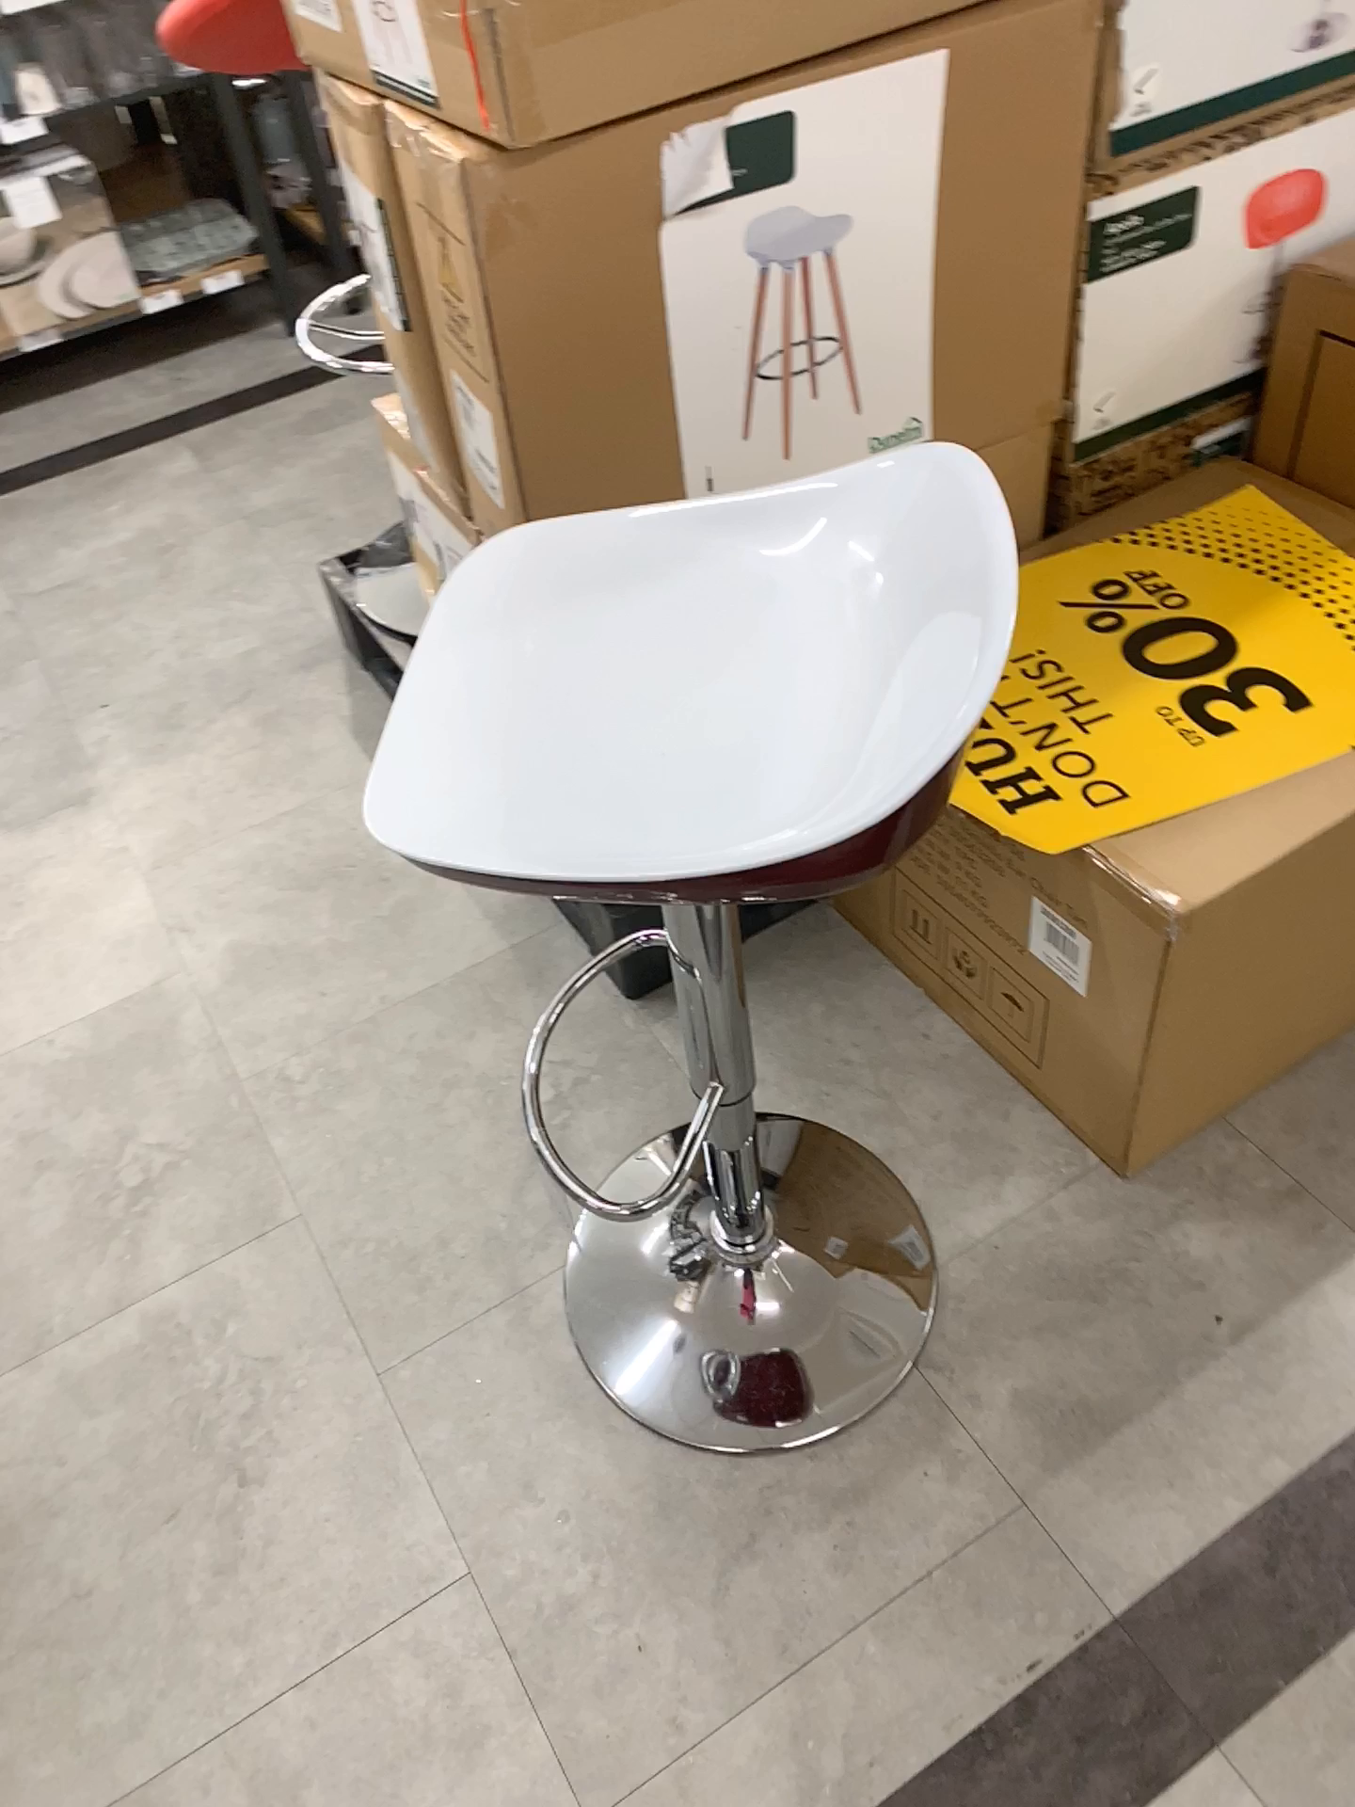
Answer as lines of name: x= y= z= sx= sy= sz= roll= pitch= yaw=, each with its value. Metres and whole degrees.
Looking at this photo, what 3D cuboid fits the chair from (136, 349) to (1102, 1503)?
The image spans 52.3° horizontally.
chair: x=0.021 y=0.076 z=1.074 sx=0.452 sy=0.798 sz=0.447 roll=-2 pitch=45 yaw=7
